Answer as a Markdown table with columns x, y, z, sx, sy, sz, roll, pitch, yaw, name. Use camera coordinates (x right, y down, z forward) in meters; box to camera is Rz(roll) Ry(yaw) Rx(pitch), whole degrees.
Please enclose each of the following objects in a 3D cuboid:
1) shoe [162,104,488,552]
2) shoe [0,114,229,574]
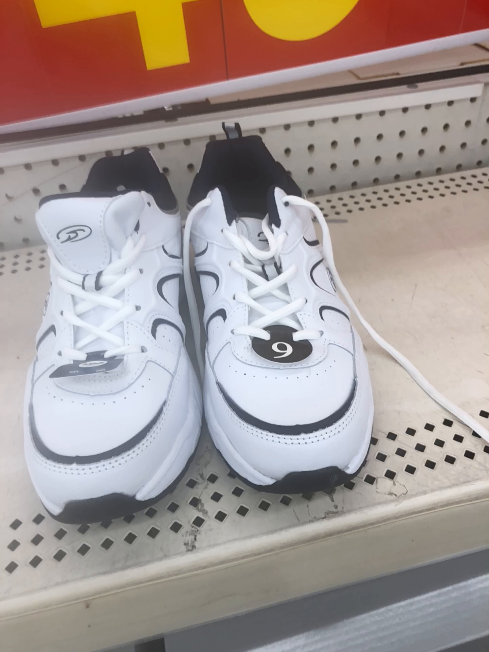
| x | y | z | sx | sy | sz | roll | pitch | yaw | name |
| --- | --- | --- | --- | --- | --- | --- | --- | --- | --- |
| 0.019 | -0.024 | 0.335 | 0.110 | 0.119 | 0.261 | -9 | 42 | -4 | shoe |
| -0.077 | -0.014 | 0.328 | 0.110 | 0.119 | 0.261 | -6 | 41 | -1 | shoe |
